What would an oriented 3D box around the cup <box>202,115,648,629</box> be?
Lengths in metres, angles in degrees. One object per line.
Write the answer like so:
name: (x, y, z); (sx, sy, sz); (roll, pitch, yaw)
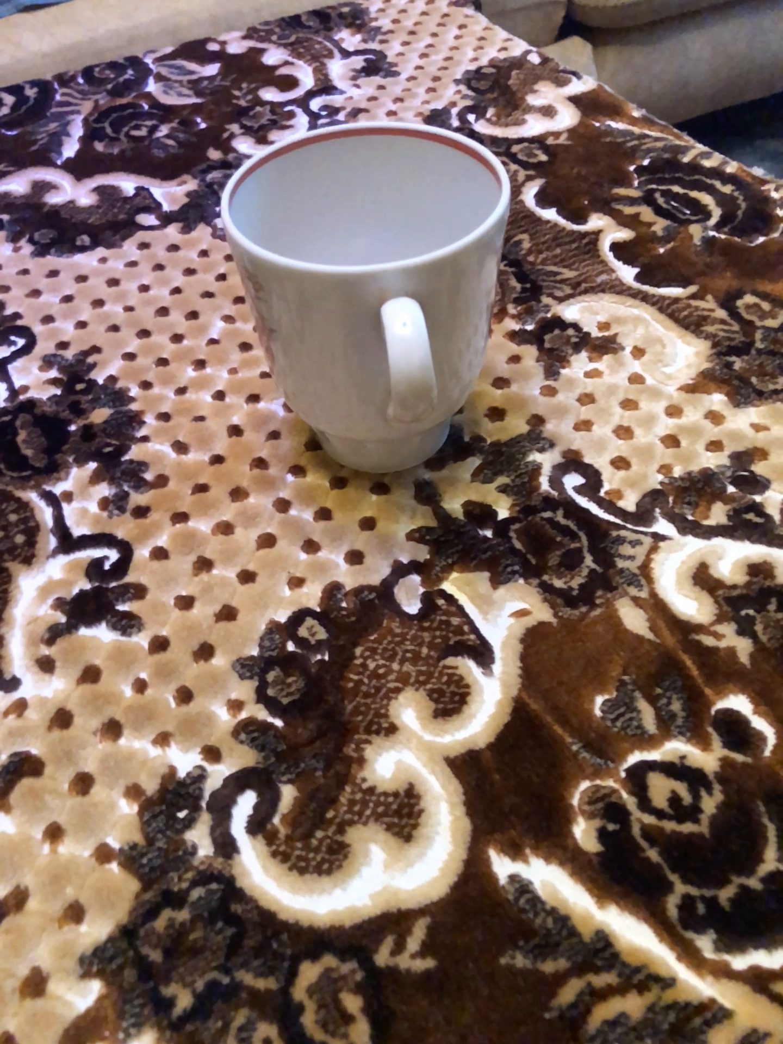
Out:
cup: (0.002, -0.053, 0.283); (0.100, 0.090, 0.131); (-10, 50, -7)
